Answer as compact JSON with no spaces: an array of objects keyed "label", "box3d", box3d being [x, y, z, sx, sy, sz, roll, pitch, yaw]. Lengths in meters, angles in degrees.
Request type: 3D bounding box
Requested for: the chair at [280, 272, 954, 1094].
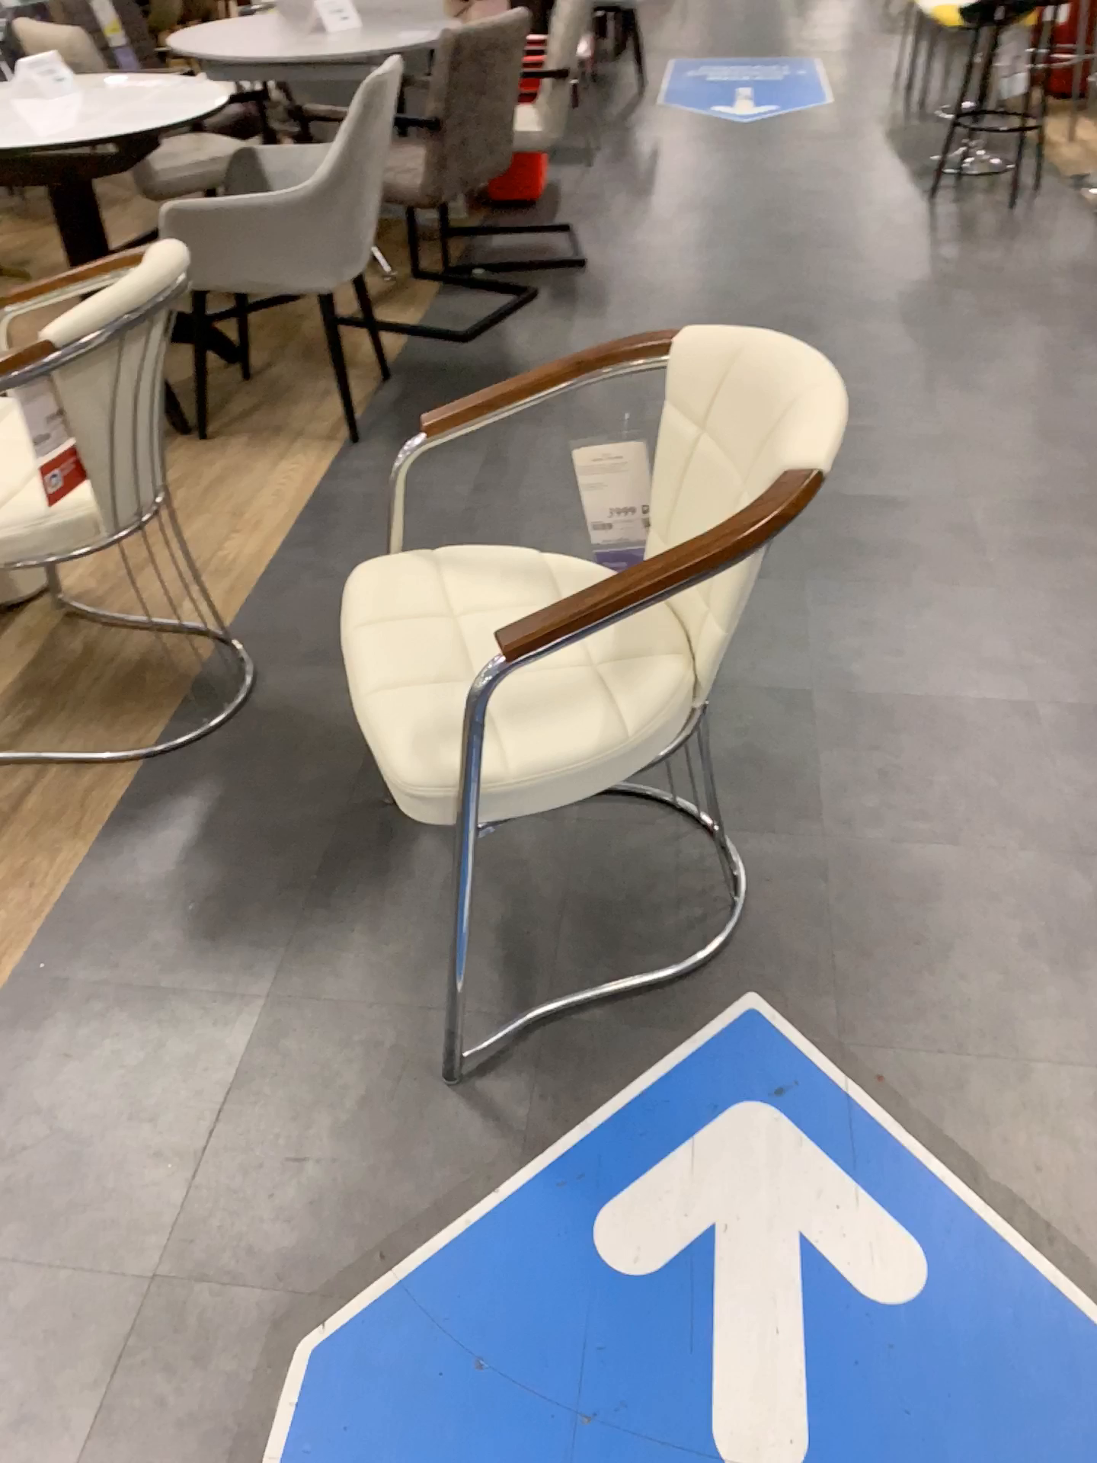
[{"label":"chair","box3d":[0.037,-0.077,1.516,0.600,0.815,0.603,-11,39,-11]}]
